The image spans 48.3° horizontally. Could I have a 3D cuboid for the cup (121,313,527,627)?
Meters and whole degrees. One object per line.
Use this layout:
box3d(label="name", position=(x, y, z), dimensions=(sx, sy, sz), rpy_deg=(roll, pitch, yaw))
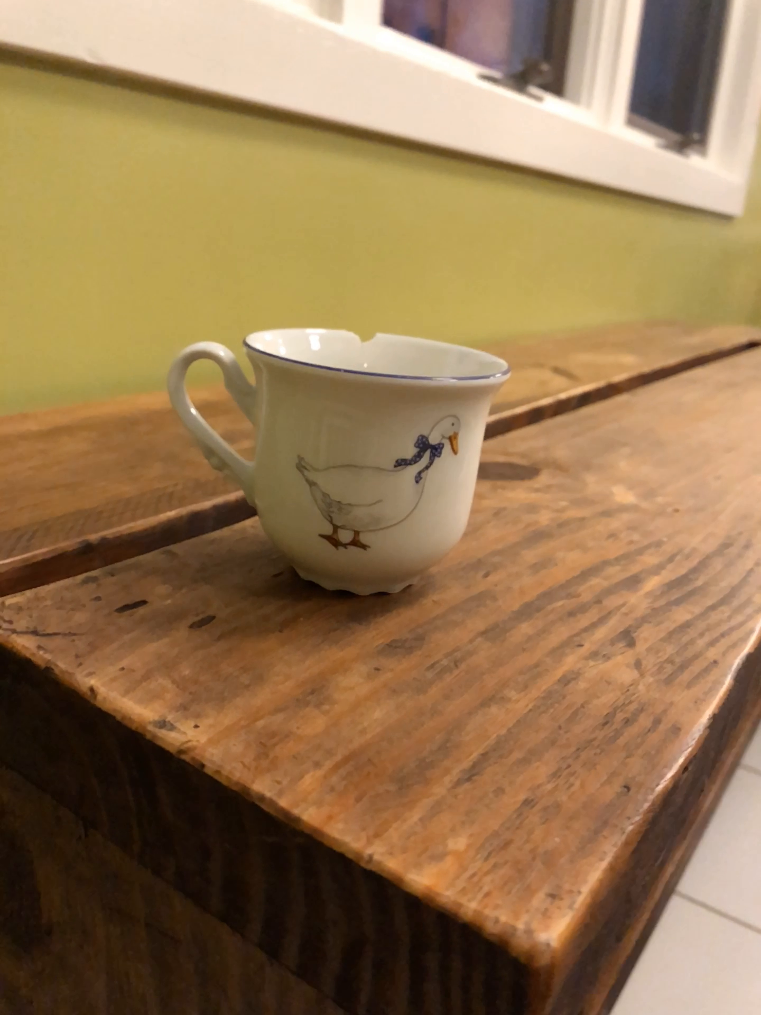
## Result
box3d(label="cup", position=(-0.013, -0.020, 0.282), dimensions=(0.107, 0.067, 0.091), rpy_deg=(9, 20, 12))
